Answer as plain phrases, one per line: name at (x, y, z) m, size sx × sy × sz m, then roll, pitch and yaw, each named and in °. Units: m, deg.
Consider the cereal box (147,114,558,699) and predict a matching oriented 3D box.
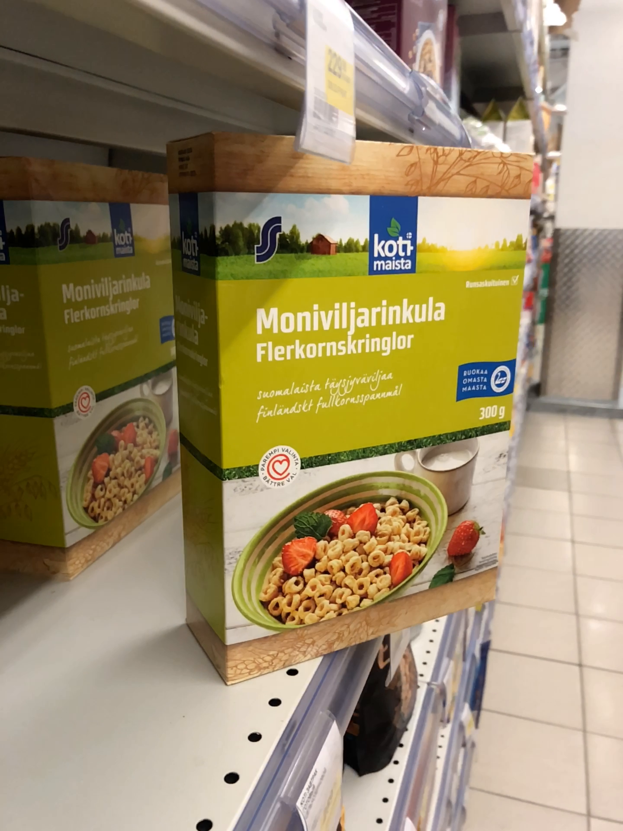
cereal box at (0.024, -0.010, 0.369) m, size 0.190 × 0.259 × 0.070 m, roll -8°, pitch 17°, yaw -26°
